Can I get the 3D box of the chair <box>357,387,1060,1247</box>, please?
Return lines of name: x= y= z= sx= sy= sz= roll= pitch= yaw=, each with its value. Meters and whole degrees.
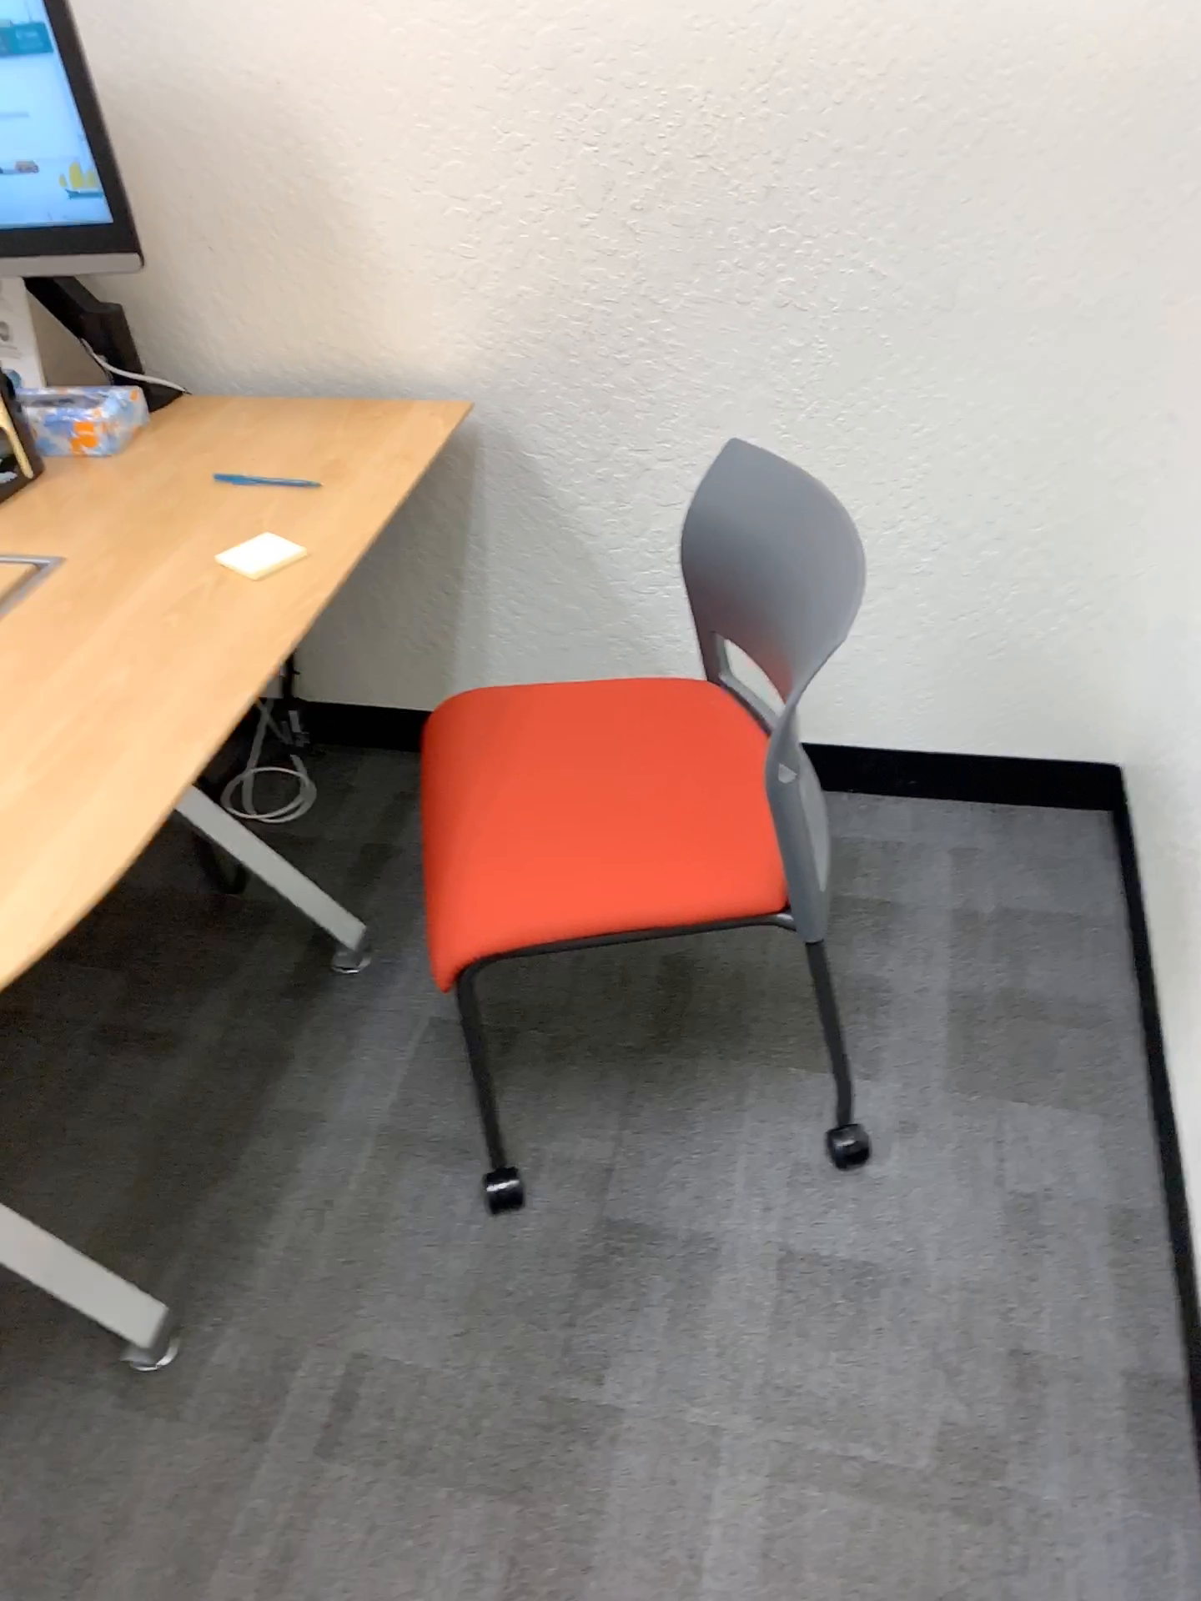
chair: x=0.097 y=0.023 z=1.807 sx=0.720 sy=0.915 sz=0.744 roll=-8 pitch=41 yaw=-3
